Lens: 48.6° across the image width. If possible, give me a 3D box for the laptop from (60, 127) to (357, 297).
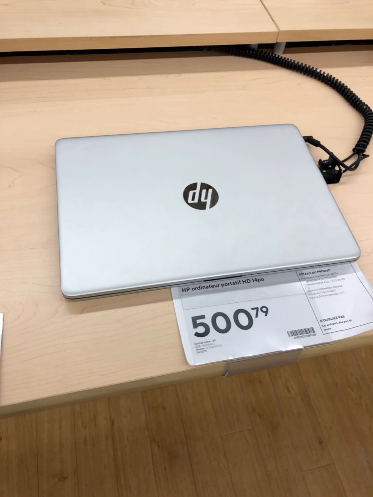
[{"bbox_3d":[0.019,-0.061,0.476,0.309,0.004,0.205,-7,58,-13],"label":"laptop"}]
